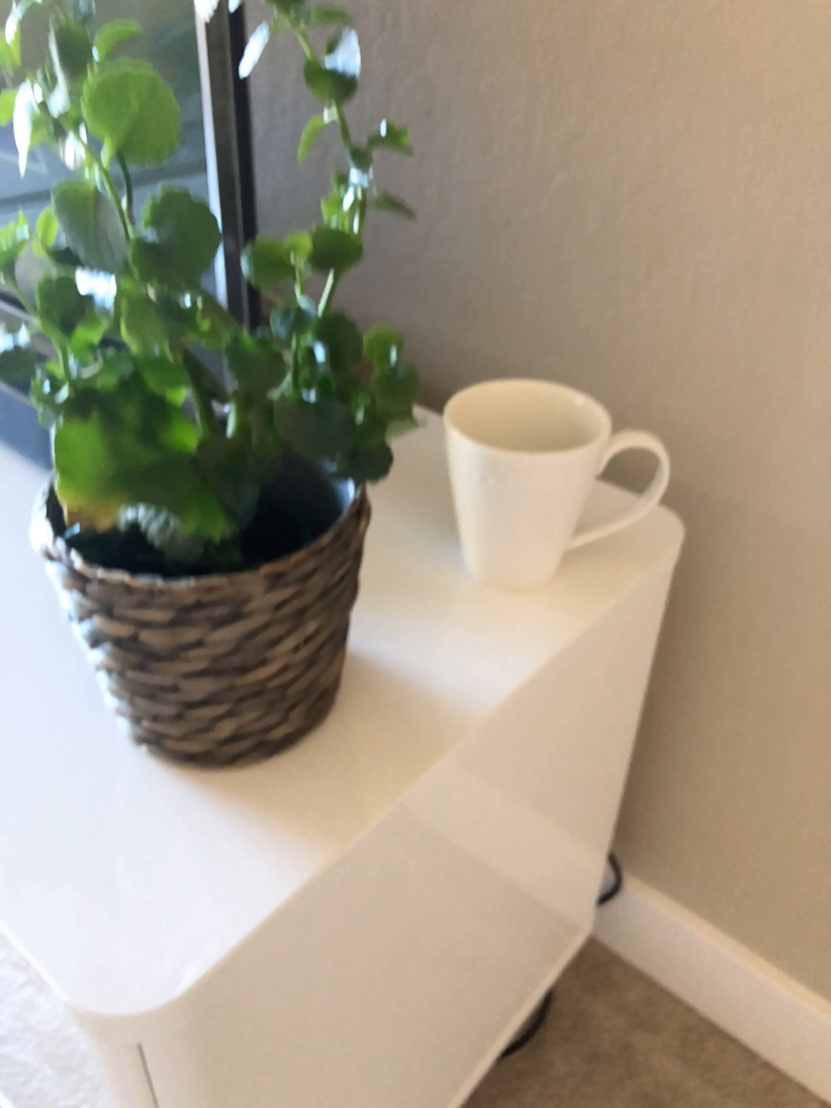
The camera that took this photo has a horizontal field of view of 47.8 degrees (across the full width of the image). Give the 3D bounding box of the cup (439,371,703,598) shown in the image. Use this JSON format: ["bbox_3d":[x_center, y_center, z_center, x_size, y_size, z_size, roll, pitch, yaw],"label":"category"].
[{"bbox_3d":[0.083,-0.042,0.541,0.130,0.090,0.090,3,35,2],"label":"cup"}]
